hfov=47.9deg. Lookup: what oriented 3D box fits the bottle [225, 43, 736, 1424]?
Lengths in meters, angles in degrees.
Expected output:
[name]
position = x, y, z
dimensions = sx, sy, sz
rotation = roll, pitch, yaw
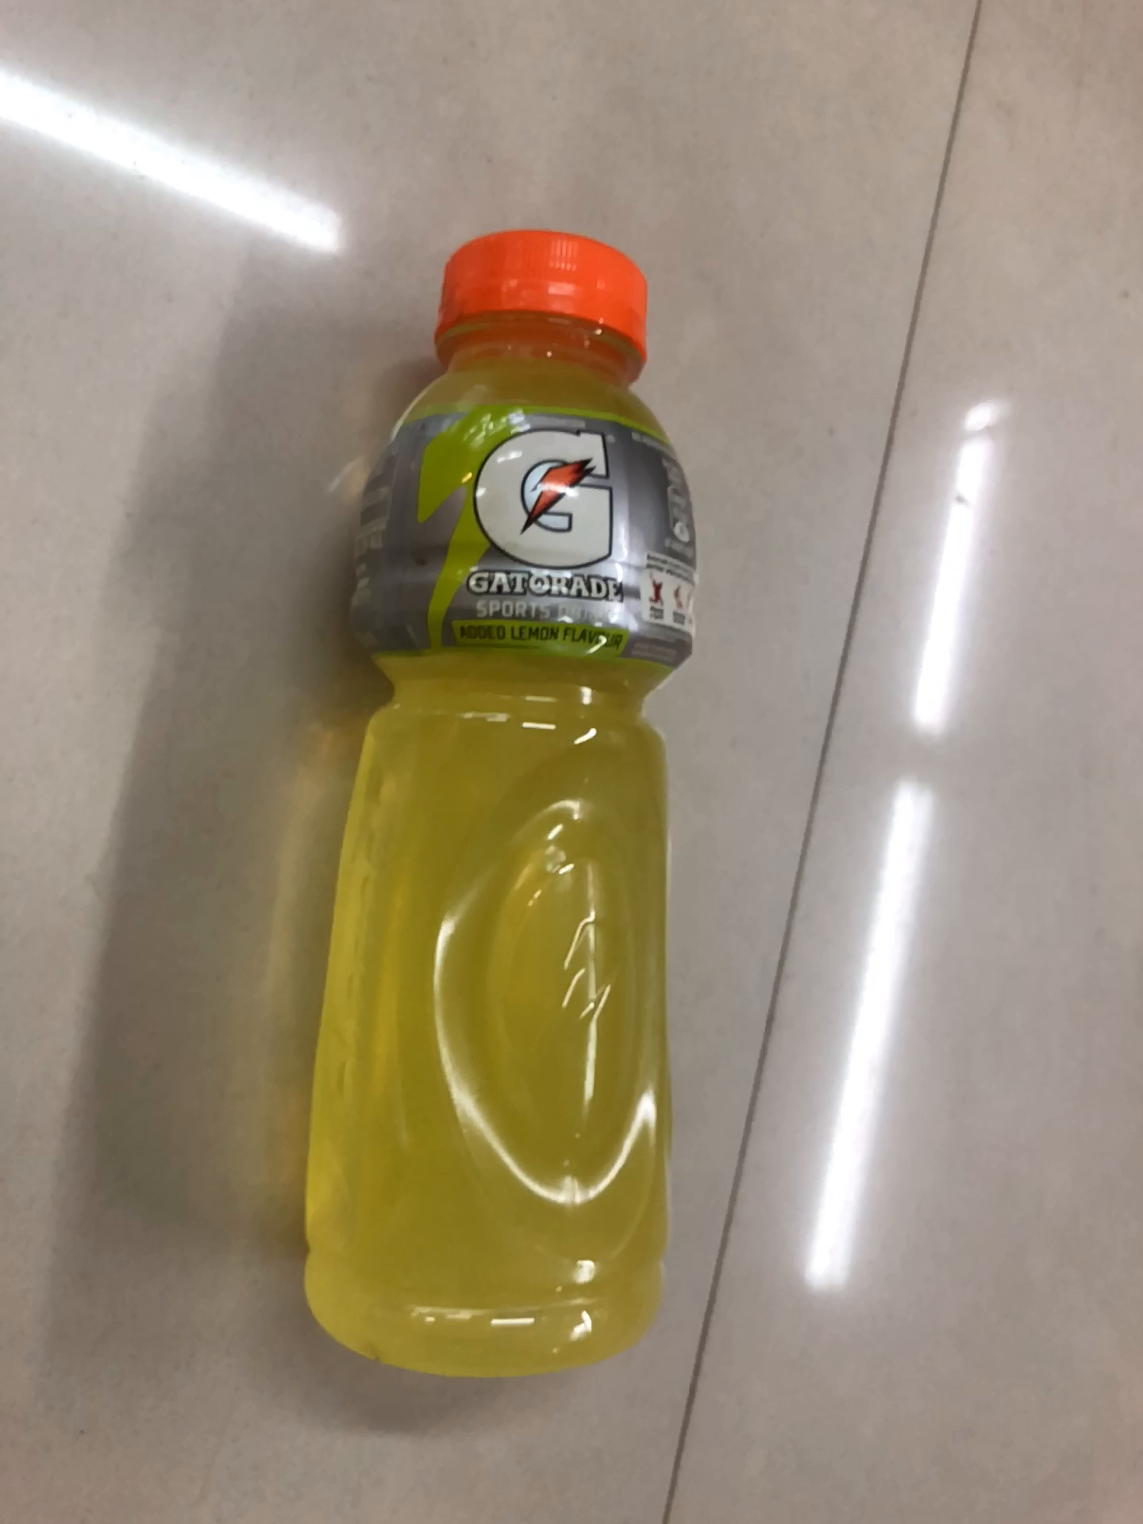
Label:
[bottle]
position = -0.021, -0.003, 0.255
dimensions = 0.070, 0.060, 0.230
rotation = 4, 91, -23
